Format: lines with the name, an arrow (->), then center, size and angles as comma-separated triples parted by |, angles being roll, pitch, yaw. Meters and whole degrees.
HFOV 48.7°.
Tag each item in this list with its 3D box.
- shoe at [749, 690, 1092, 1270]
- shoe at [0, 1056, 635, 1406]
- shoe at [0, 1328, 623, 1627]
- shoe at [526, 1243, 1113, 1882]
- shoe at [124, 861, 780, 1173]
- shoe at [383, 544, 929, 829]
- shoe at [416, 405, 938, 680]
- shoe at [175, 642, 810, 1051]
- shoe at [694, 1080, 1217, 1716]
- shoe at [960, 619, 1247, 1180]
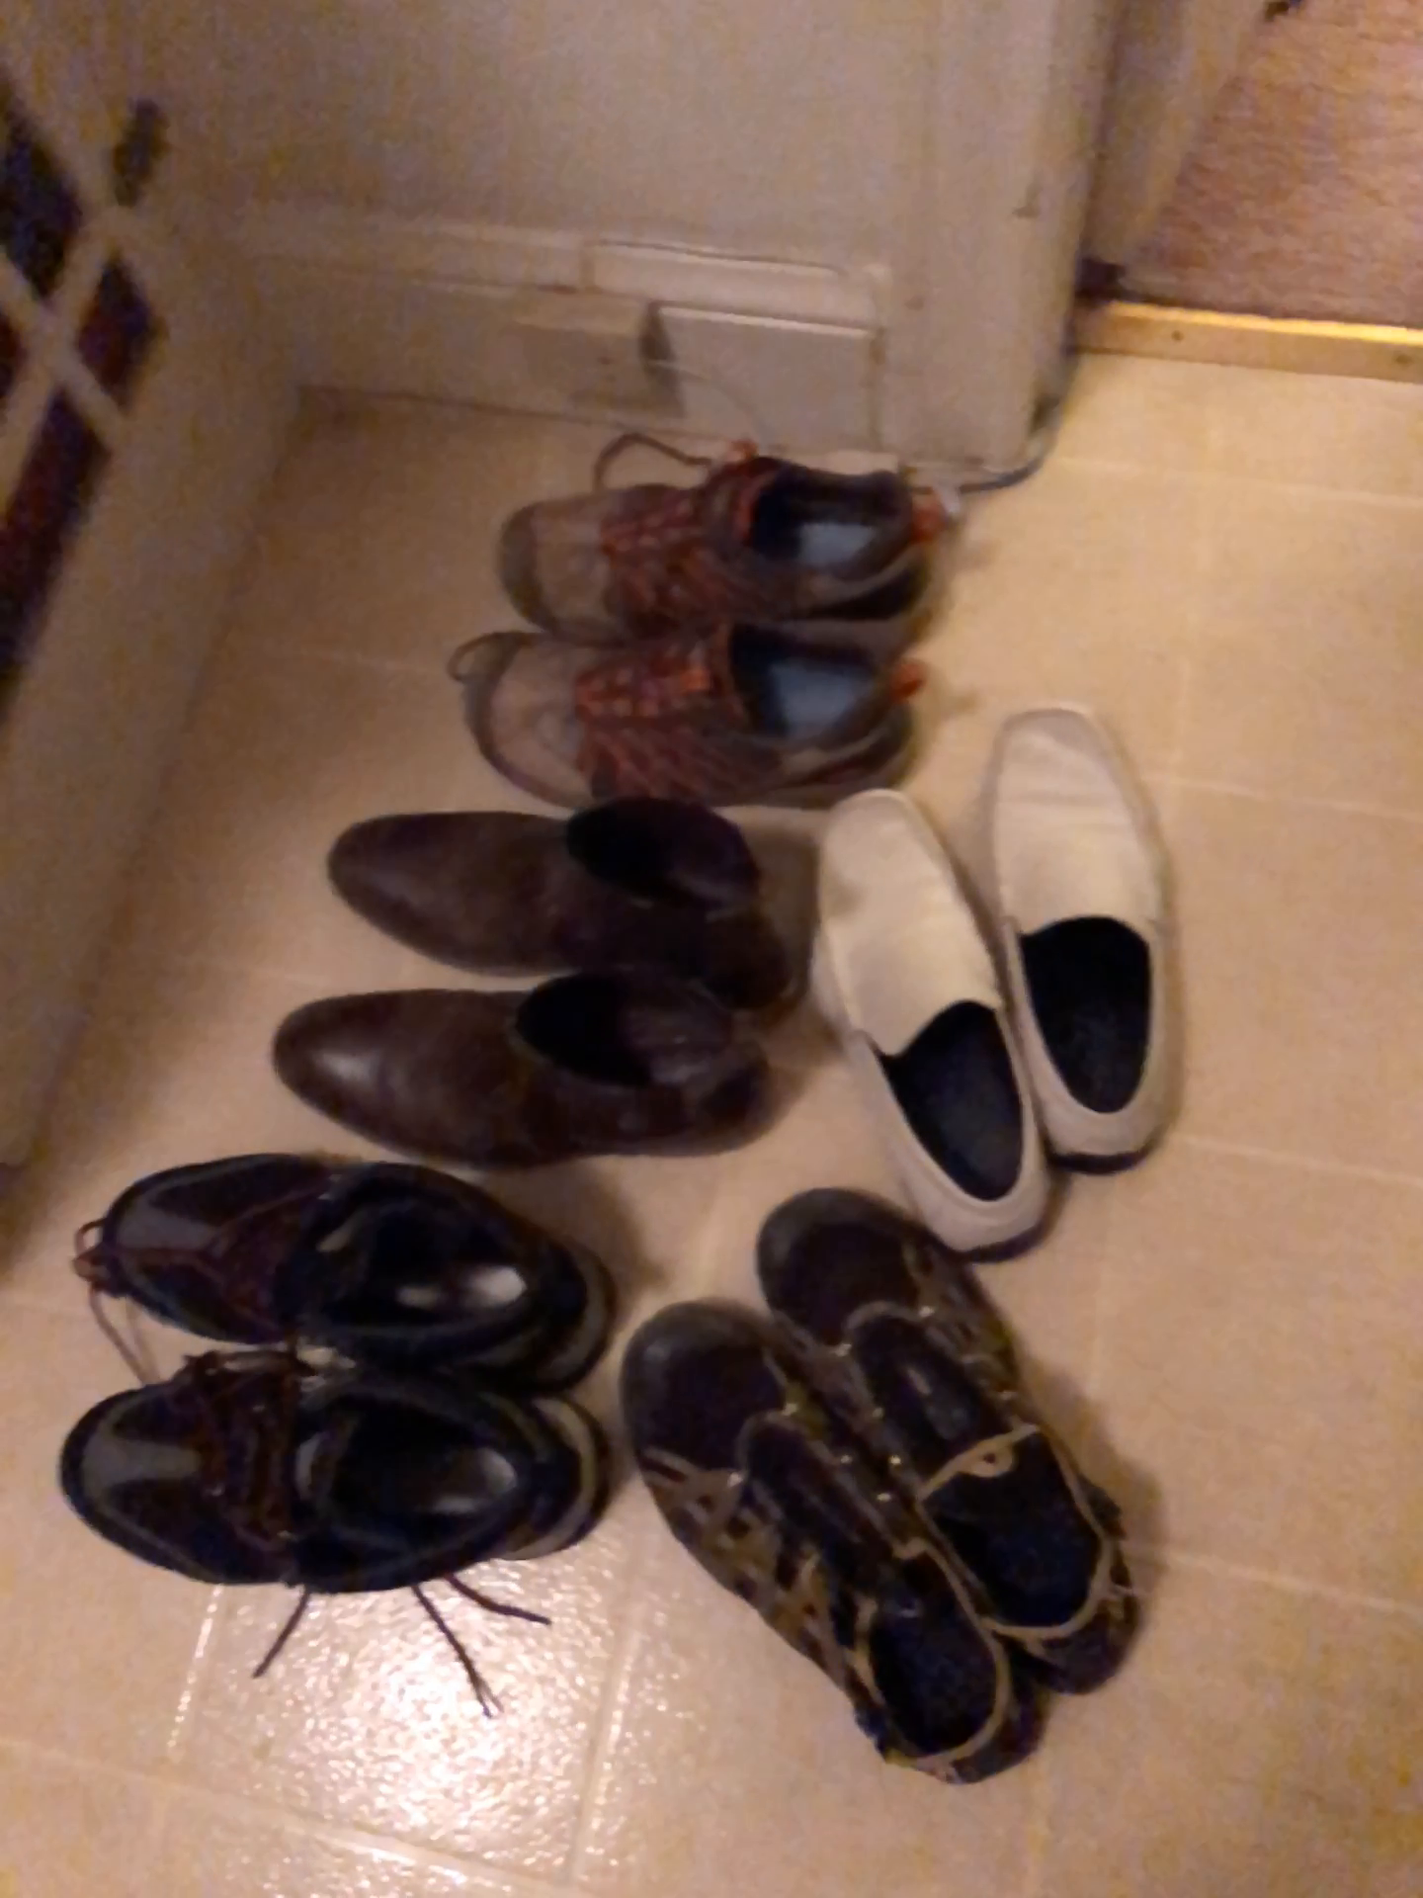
shoe -> 0.116, 0.018, 0.925 | 0.110, 0.113, 0.304 | -14, 69, 1
shoe -> -0.224, 0.162, 0.873 | 0.323, 0.193, 0.110 | 8, 71, 9
shoe -> -0.225, 0.276, 0.824 | 0.323, 0.193, 0.110 | 2, 70, 7
shoe -> 0.052, 0.307, 0.821 | 0.110, 0.123, 0.294 | -43, 71, -9
shoe -> -0.132, 0.044, 0.908 | 0.323, 0.193, 0.110 | 3, 70, 7
shoe -> -0.028, -0.164, 0.985 | 0.313, 0.113, 0.110 | 6, 71, 9
shoe -> -0.016, -0.265, 1.027 | 0.313, 0.113, 0.110 | 6, 71, 9
shoe -> -0.116, -0.056, 0.941 | 0.323, 0.193, 0.110 | 13, 72, 11
shoe -> 0.121, 0.234, 0.844 | 0.110, 0.123, 0.294 | -32, 70, -6
shoe -> 0.222, -0.029, 0.932 | 0.110, 0.113, 0.304 | -5, 69, 5
